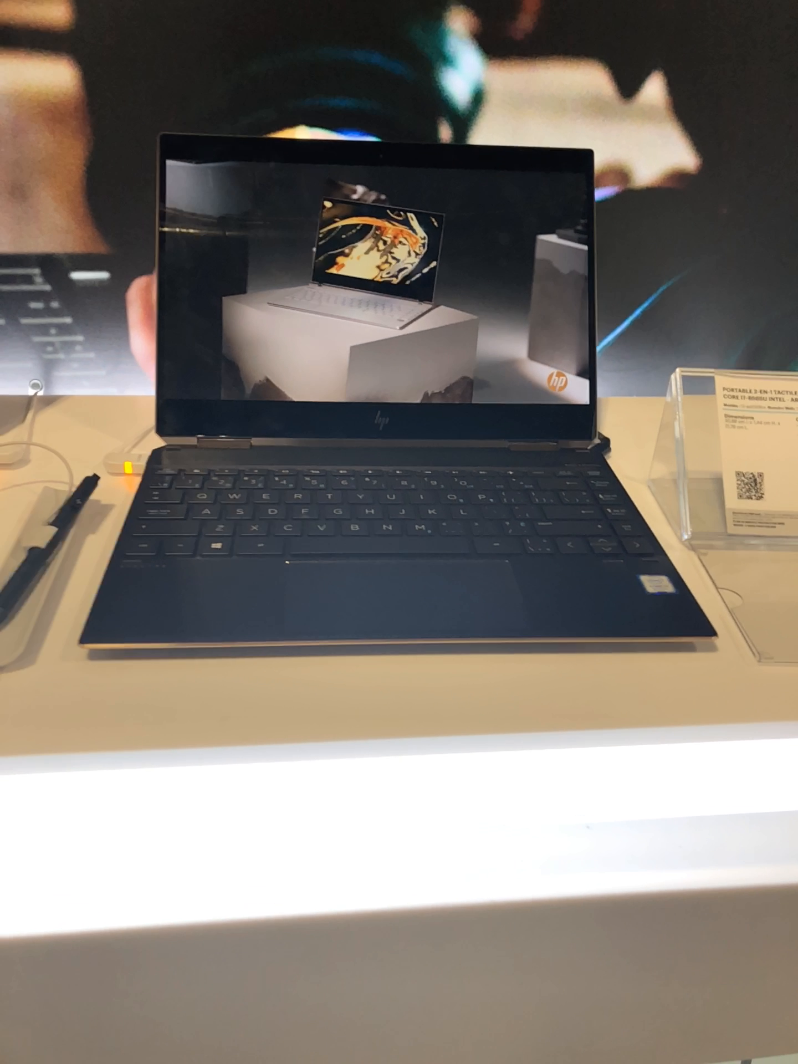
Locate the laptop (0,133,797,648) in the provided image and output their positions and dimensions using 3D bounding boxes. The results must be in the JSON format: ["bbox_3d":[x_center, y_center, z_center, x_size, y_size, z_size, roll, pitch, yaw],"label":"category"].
[{"bbox_3d":[-0.003,-0.113,0.512,0.305,0.172,0.347,0,31,-5],"label":"laptop"}]
